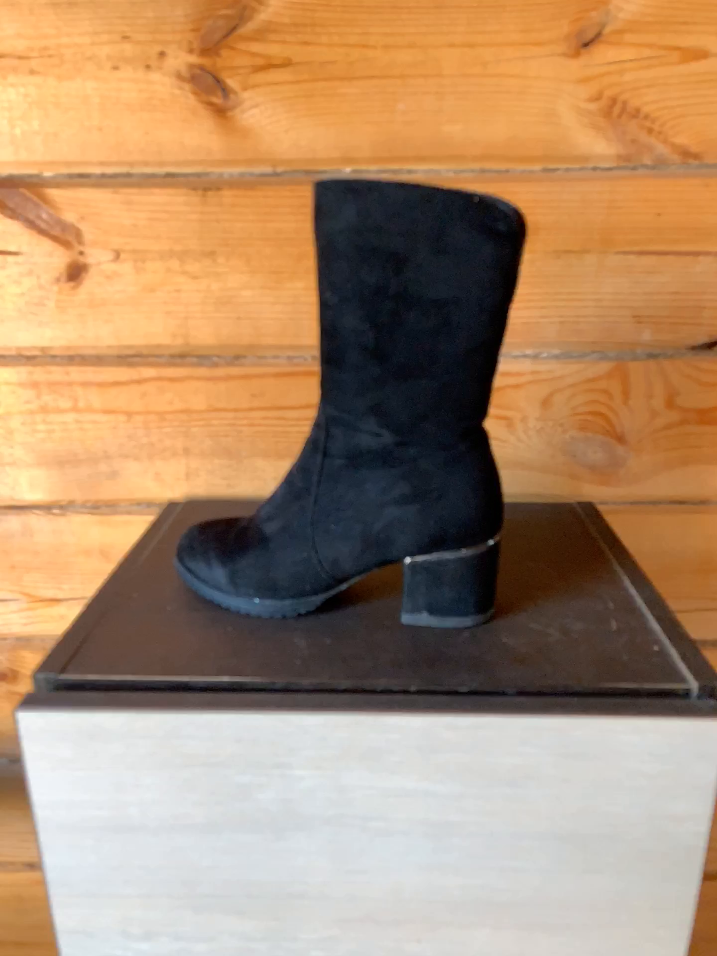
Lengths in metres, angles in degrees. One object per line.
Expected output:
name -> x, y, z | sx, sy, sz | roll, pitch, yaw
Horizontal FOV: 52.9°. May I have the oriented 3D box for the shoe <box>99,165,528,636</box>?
shoe -> -0.020, -0.051, 0.469 | 0.232, 0.268, 0.101 | 2, 18, 9
